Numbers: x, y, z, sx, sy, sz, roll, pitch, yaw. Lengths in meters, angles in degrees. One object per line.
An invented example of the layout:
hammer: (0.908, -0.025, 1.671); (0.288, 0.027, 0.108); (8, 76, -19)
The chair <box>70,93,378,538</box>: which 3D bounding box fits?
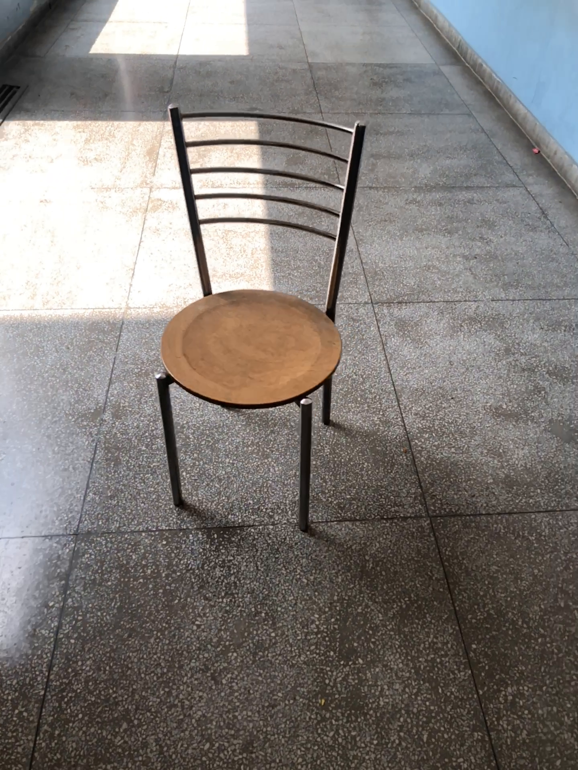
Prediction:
chair: (-0.091, -0.115, 1.329); (0.420, 0.777, 0.422); (9, 43, 7)
